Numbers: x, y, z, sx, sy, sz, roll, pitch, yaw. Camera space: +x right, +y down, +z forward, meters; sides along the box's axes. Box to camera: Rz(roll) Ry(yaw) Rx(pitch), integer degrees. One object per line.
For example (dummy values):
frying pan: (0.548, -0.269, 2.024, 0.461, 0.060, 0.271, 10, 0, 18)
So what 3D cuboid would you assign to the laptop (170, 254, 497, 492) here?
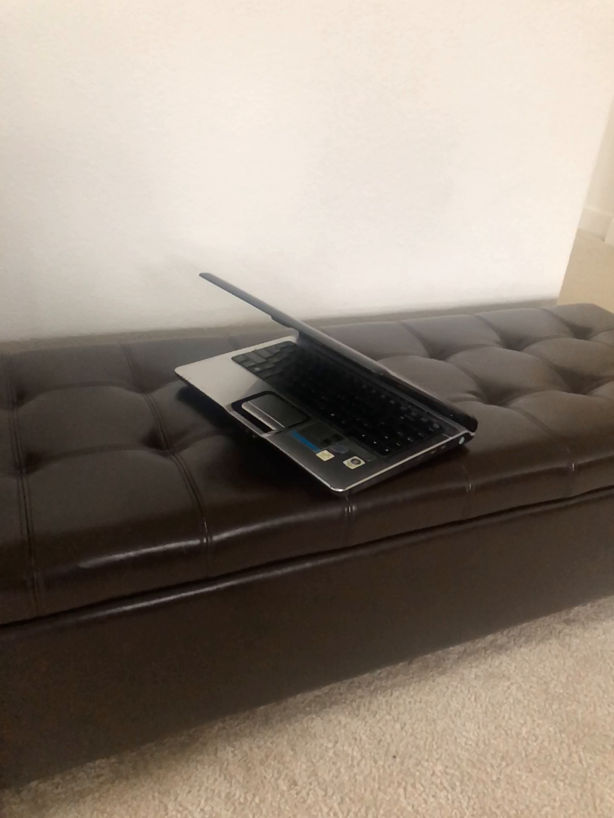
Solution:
laptop: (0.017, -0.070, 0.824, 0.230, 0.122, 0.333, -18, 37, -37)
